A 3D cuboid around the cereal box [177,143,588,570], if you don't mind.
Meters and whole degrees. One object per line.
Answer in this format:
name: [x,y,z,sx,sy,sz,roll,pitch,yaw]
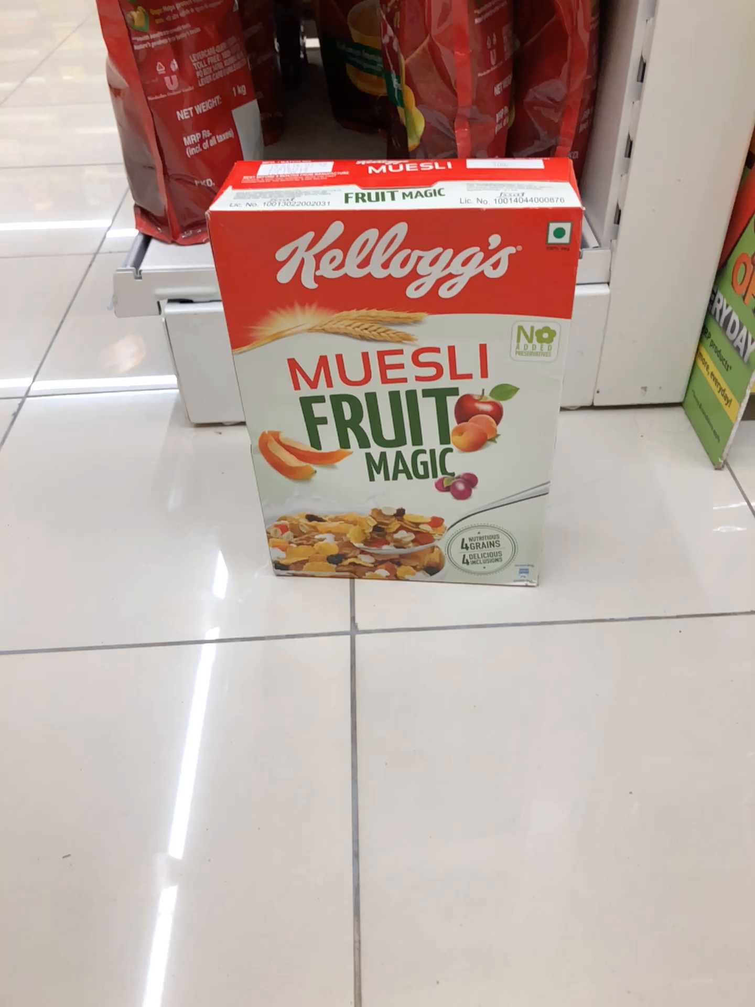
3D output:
cereal box: [0.009,-0.075,0.493,0.190,0.238,0.081,1,42,5]
